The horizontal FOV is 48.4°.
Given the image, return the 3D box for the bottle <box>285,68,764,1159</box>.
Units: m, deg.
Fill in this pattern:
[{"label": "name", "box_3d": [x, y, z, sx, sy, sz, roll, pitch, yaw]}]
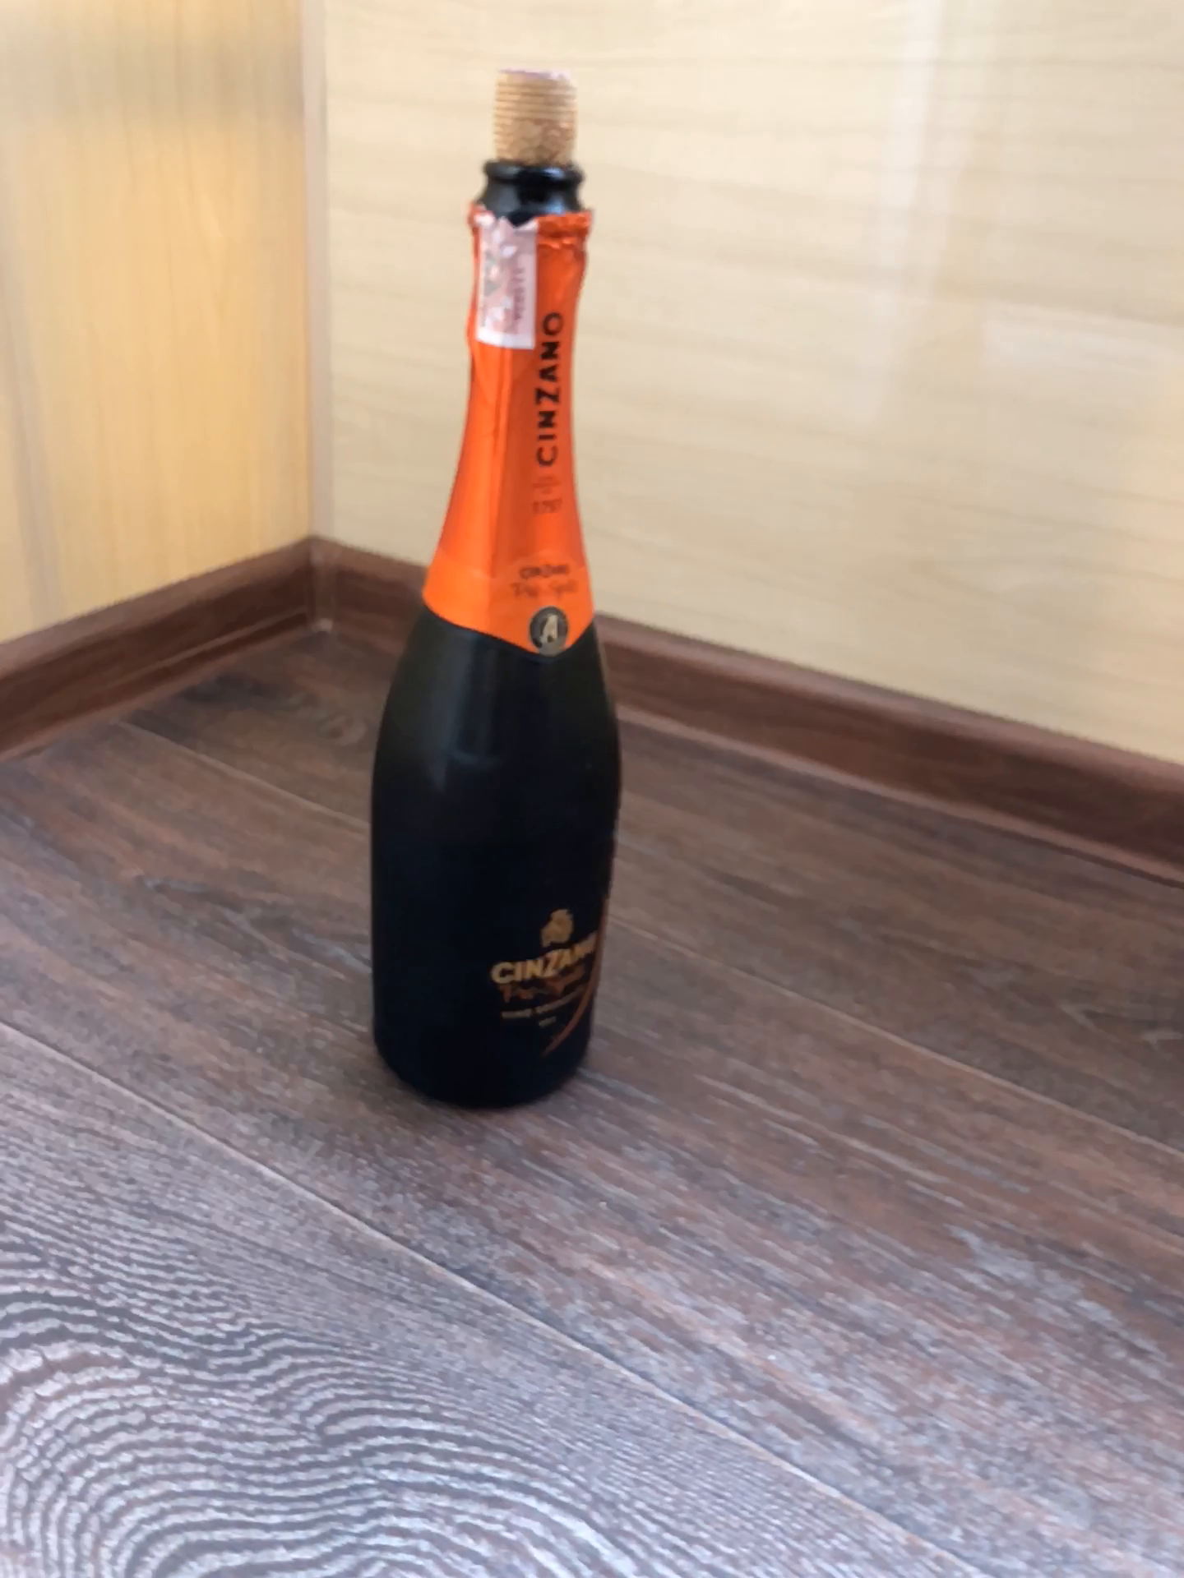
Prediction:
[{"label": "bottle", "box_3d": [-0.032, -0.049, 0.439, 0.093, 0.328, 0.100, 4, 27, -2]}]
